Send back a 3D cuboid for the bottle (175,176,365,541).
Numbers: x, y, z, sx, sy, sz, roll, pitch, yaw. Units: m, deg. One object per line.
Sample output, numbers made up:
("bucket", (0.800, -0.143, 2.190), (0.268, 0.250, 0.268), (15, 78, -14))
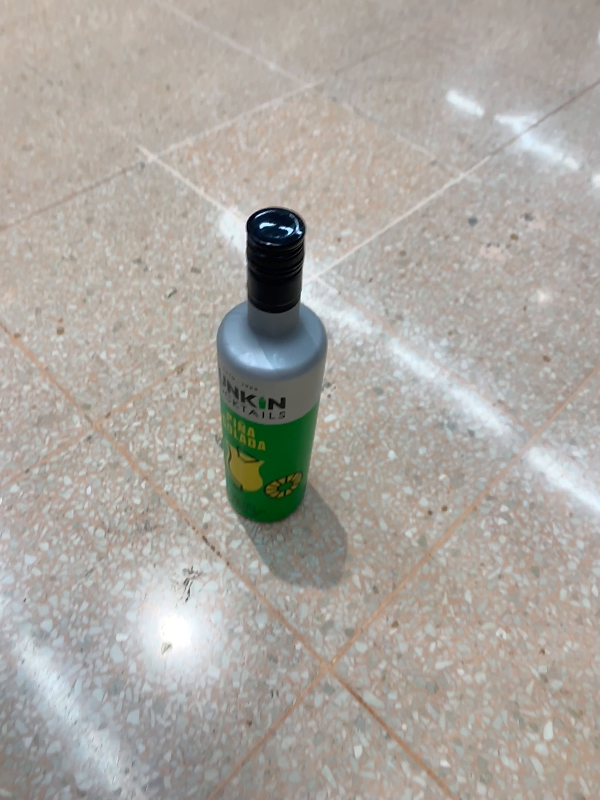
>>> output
("bottle", (-0.024, -0.004, 0.439), (0.074, 0.284, 0.067), (2, 54, -3))
